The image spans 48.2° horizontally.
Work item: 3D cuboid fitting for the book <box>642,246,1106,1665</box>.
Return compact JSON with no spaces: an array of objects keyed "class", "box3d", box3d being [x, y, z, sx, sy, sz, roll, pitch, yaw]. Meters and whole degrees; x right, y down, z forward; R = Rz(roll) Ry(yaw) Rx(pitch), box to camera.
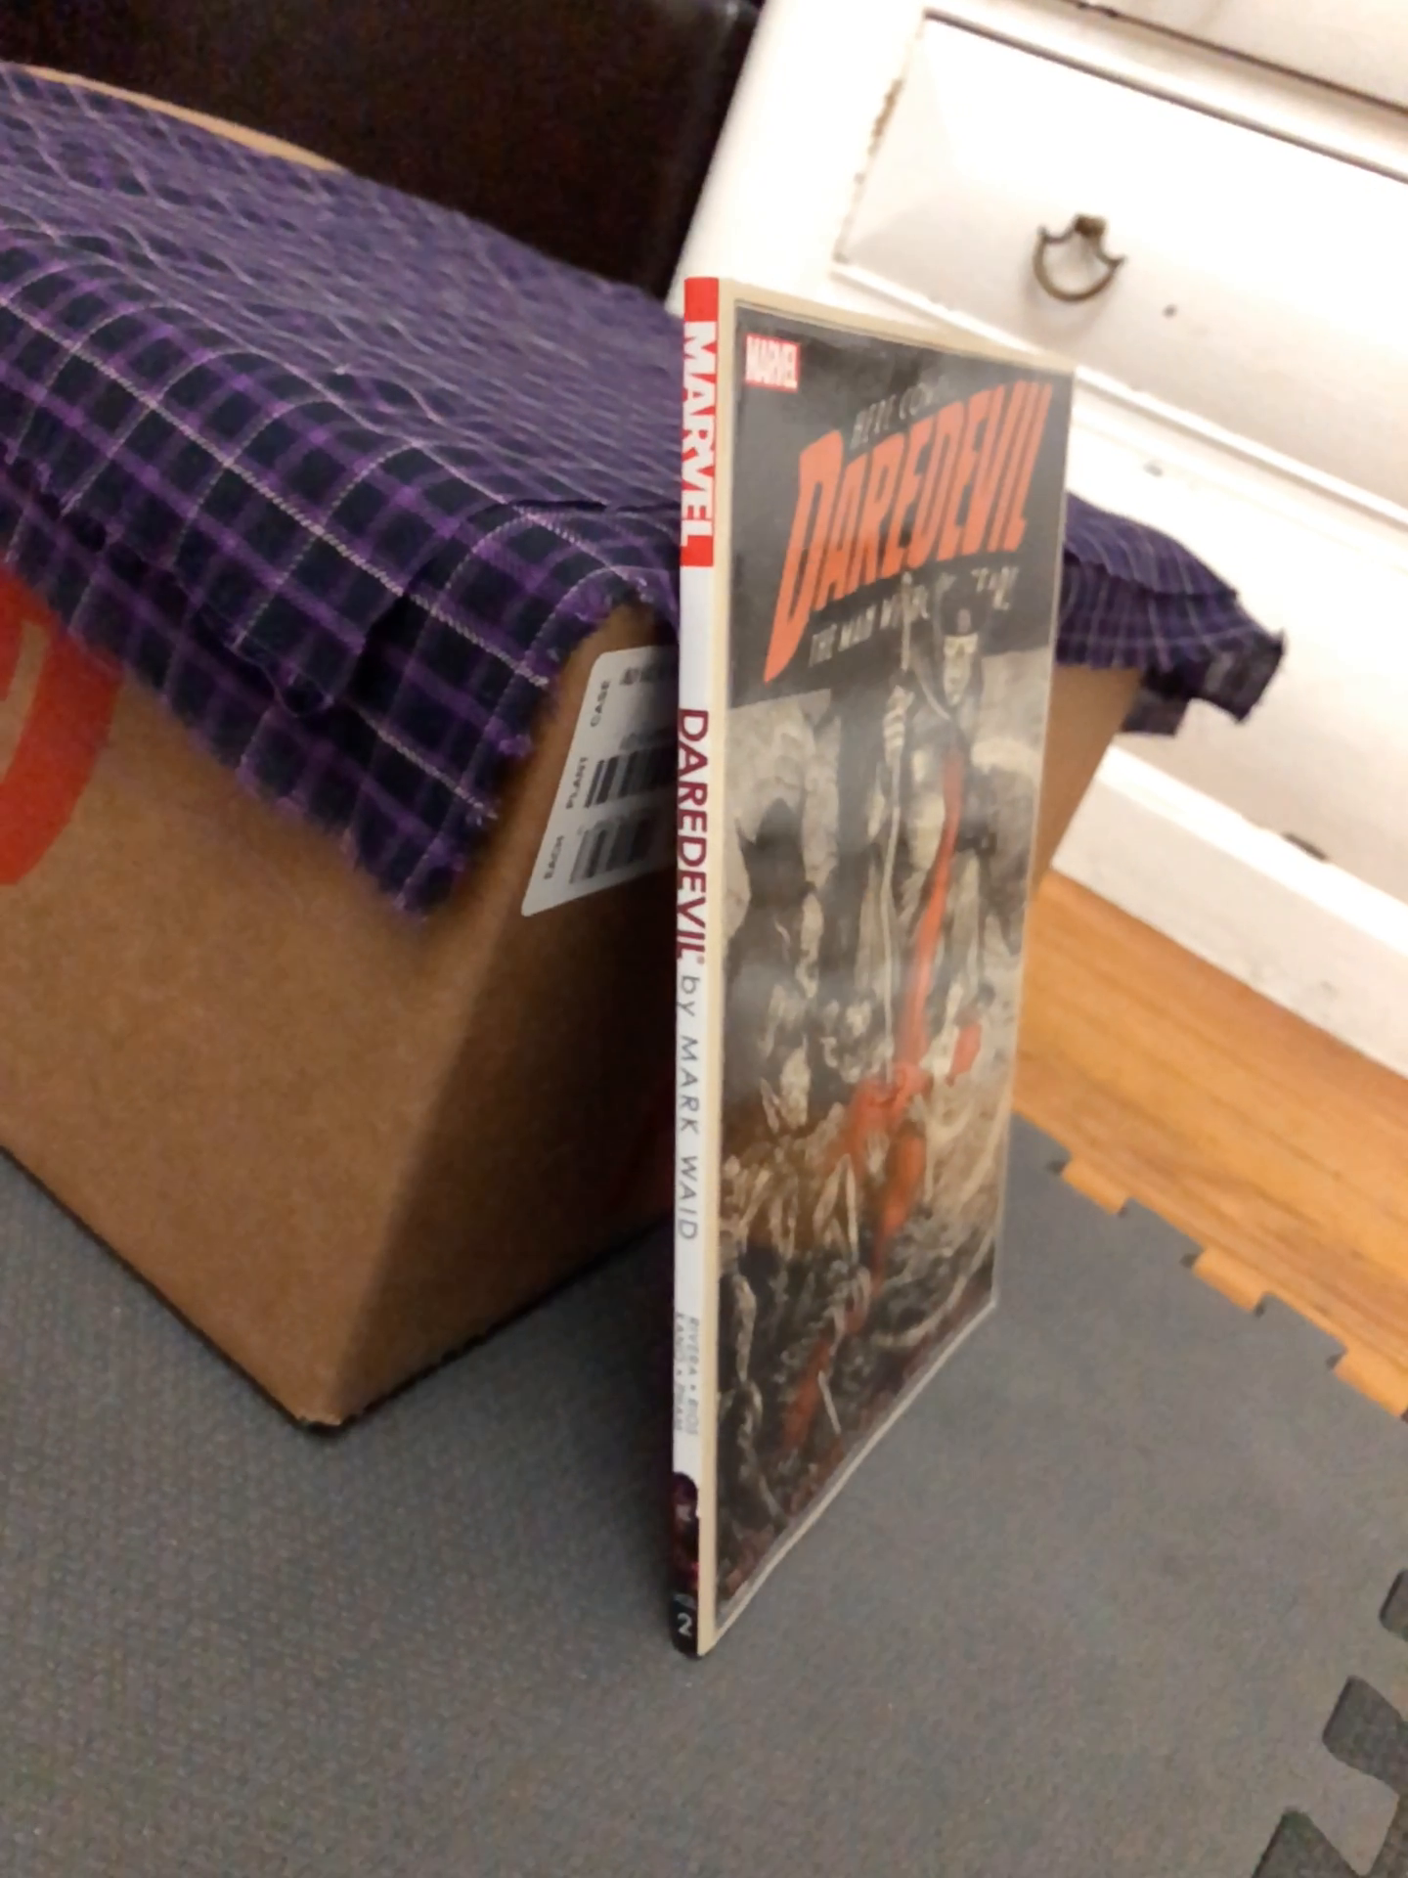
[{"class":"book","box3d":[0.039,-0.004,0.317,0.020,0.229,0.161,10,17,28]}]
